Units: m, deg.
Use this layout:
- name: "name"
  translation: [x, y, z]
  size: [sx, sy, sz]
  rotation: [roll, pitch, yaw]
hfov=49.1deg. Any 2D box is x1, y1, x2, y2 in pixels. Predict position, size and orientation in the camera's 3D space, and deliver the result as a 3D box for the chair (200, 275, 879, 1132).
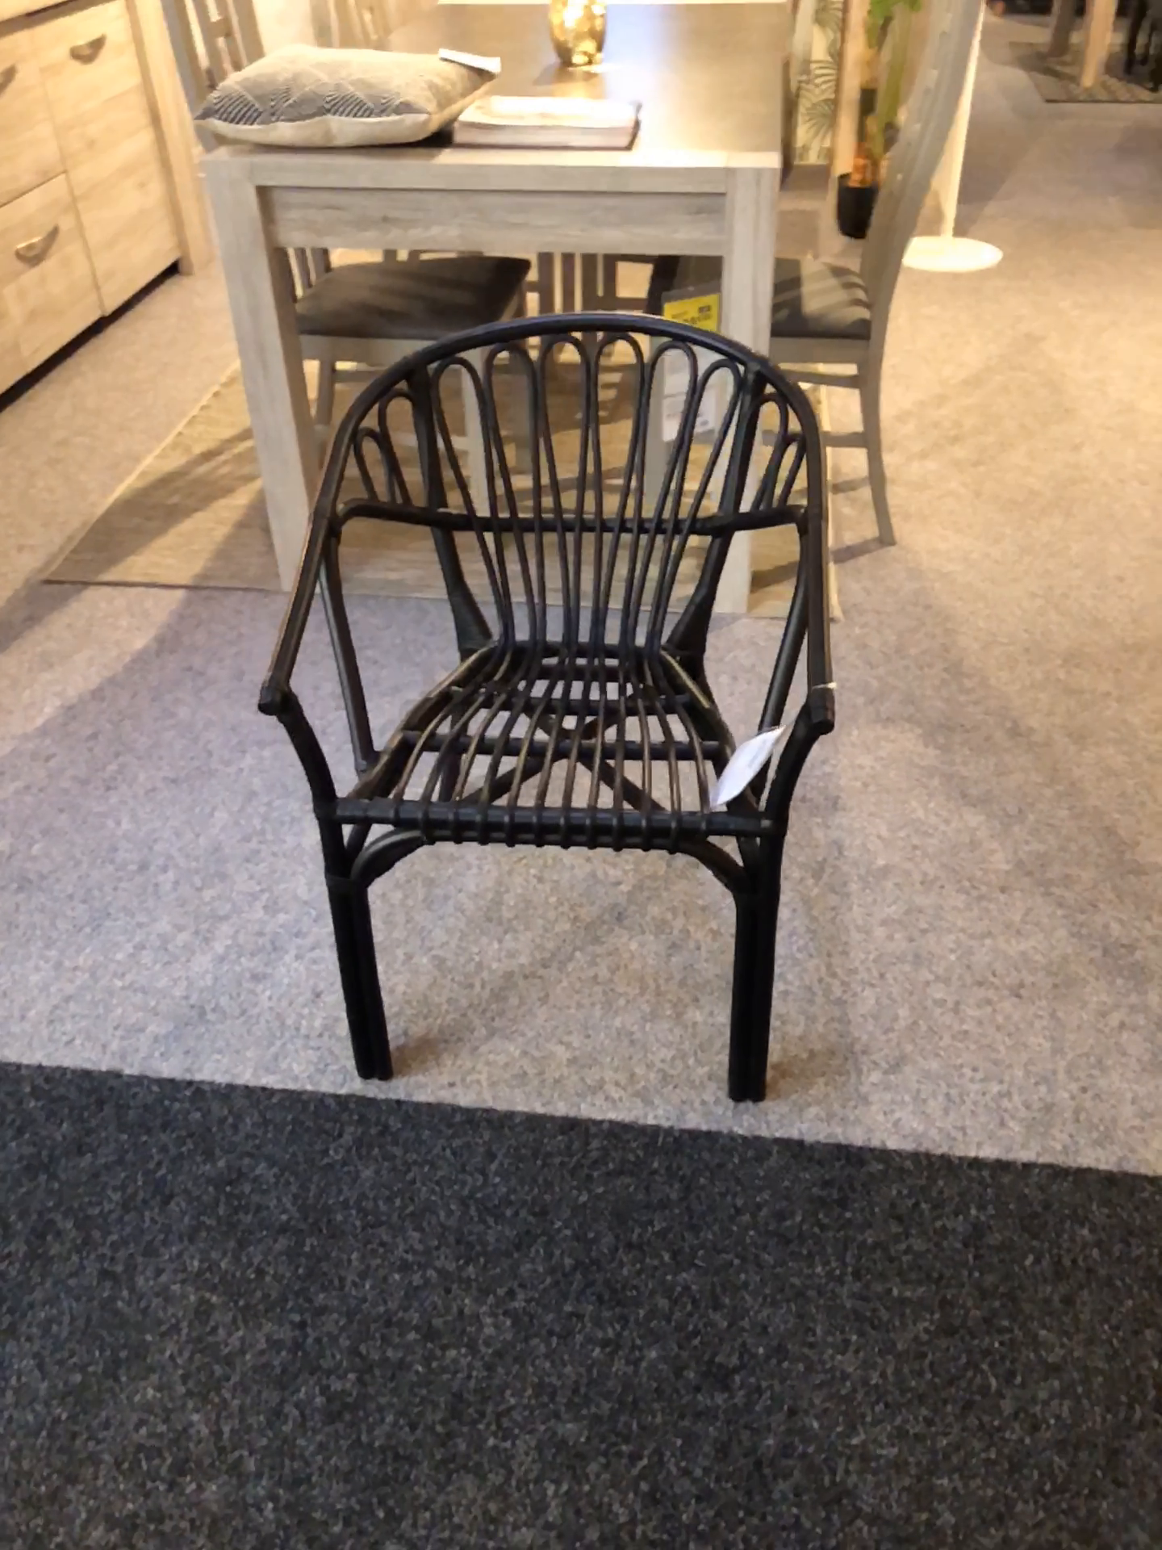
- name: "chair"
  translation: [0.004, -0.090, 1.424]
  size: [0.530, 0.736, 0.564]
  rotation: [4, 37, 7]
